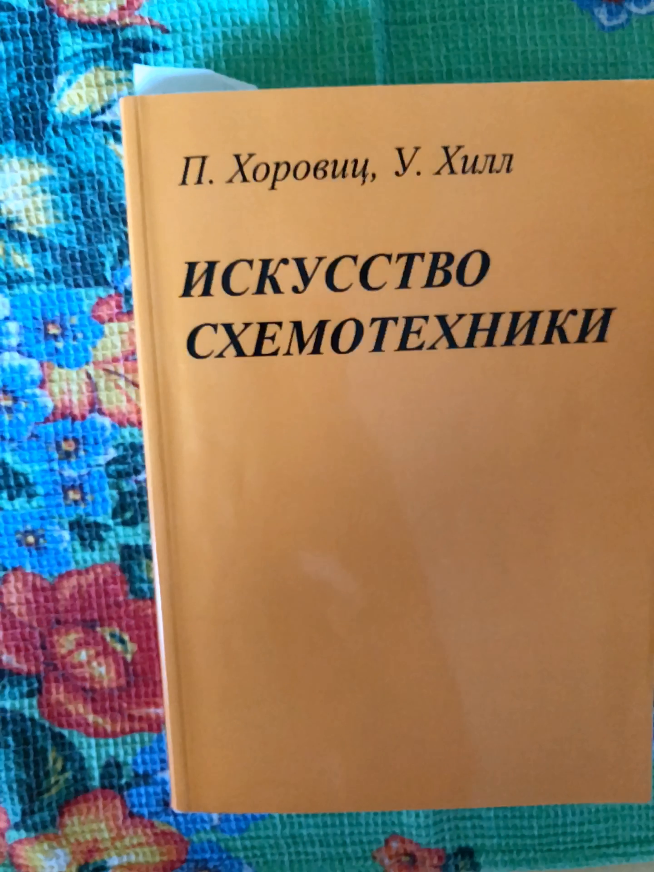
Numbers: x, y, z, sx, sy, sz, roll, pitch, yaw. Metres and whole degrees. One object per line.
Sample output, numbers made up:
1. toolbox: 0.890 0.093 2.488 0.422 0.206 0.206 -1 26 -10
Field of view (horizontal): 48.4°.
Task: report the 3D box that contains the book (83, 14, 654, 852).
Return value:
1. book: 0.021 0.001 0.257 0.180 0.050 0.260 -3 94 -1
